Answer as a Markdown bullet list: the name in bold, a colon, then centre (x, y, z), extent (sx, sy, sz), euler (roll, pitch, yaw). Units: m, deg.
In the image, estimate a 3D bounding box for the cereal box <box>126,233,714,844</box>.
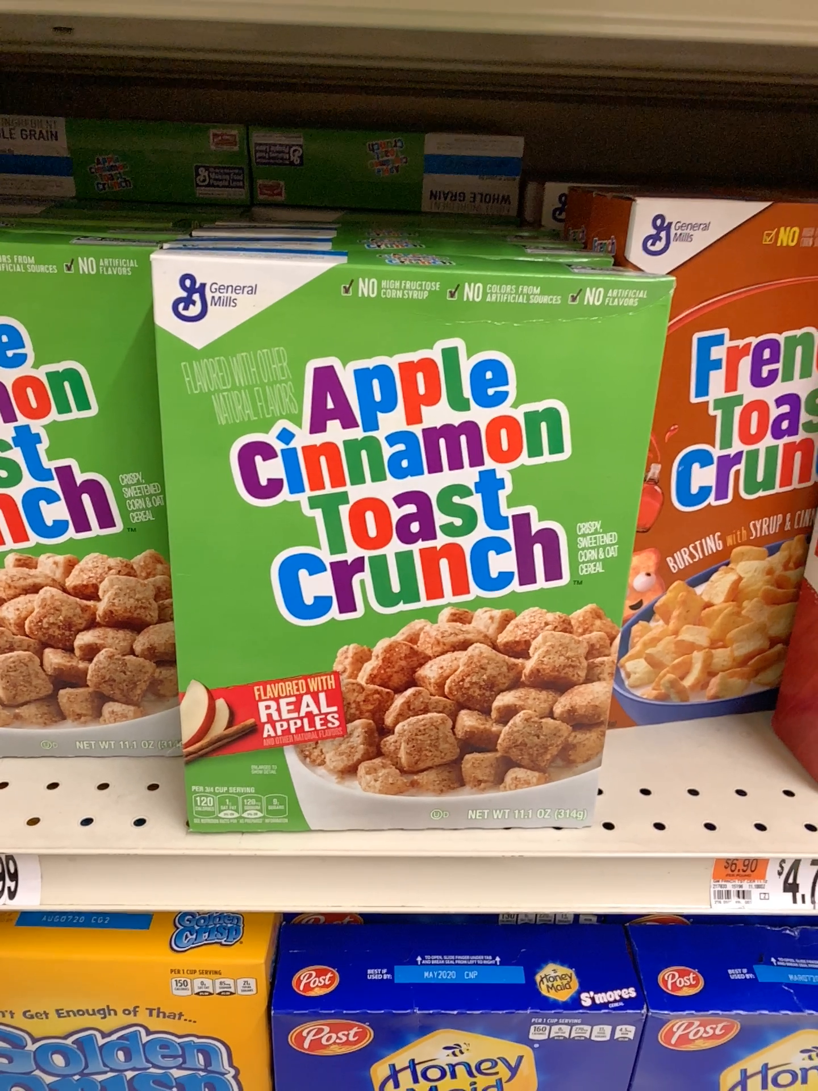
- **cereal box**: centre (-0.003, 0.009, 0.381), extent (0.210, 0.269, 0.060), euler (1, 25, -6)
